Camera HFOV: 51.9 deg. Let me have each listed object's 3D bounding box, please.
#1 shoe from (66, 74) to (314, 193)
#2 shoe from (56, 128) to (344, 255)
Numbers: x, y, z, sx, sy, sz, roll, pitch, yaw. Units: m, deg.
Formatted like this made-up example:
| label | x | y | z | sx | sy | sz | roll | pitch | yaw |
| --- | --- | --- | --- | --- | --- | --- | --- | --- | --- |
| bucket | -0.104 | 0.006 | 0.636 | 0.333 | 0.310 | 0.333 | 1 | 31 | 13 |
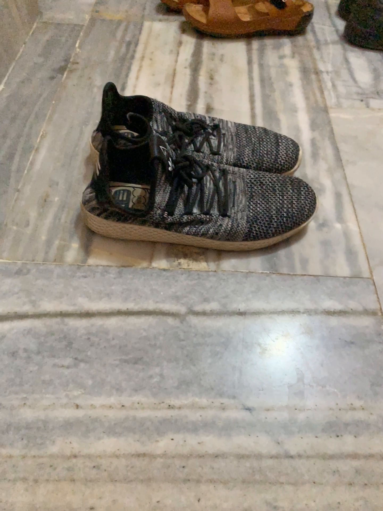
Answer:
| label | x | y | z | sx | sy | sz | roll | pitch | yaw |
| --- | --- | --- | --- | --- | --- | --- | --- | --- | --- |
| shoe | 0.001 | -0.169 | 0.542 | 0.300 | 0.080 | 0.120 | 5 | 54 | 3 |
| shoe | 0.010 | -0.078 | 0.476 | 0.300 | 0.080 | 0.120 | 2 | 54 | 1 |
